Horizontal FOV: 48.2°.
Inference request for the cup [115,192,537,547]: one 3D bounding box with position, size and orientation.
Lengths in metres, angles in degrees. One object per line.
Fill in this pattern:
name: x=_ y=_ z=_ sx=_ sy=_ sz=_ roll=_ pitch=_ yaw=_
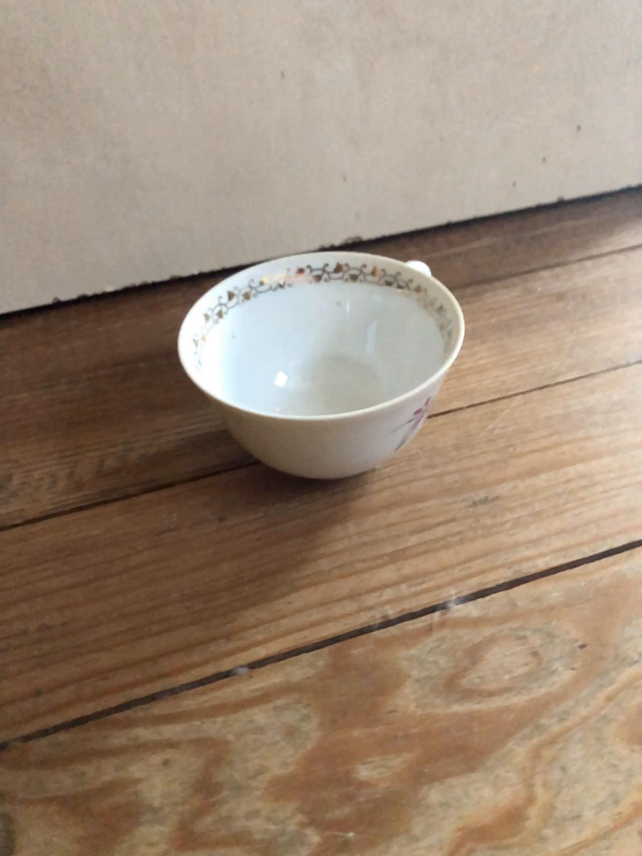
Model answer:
cup: x=0.005 y=-0.027 z=0.225 sx=0.080 sy=0.040 sz=0.101 roll=27 pitch=50 yaw=28
